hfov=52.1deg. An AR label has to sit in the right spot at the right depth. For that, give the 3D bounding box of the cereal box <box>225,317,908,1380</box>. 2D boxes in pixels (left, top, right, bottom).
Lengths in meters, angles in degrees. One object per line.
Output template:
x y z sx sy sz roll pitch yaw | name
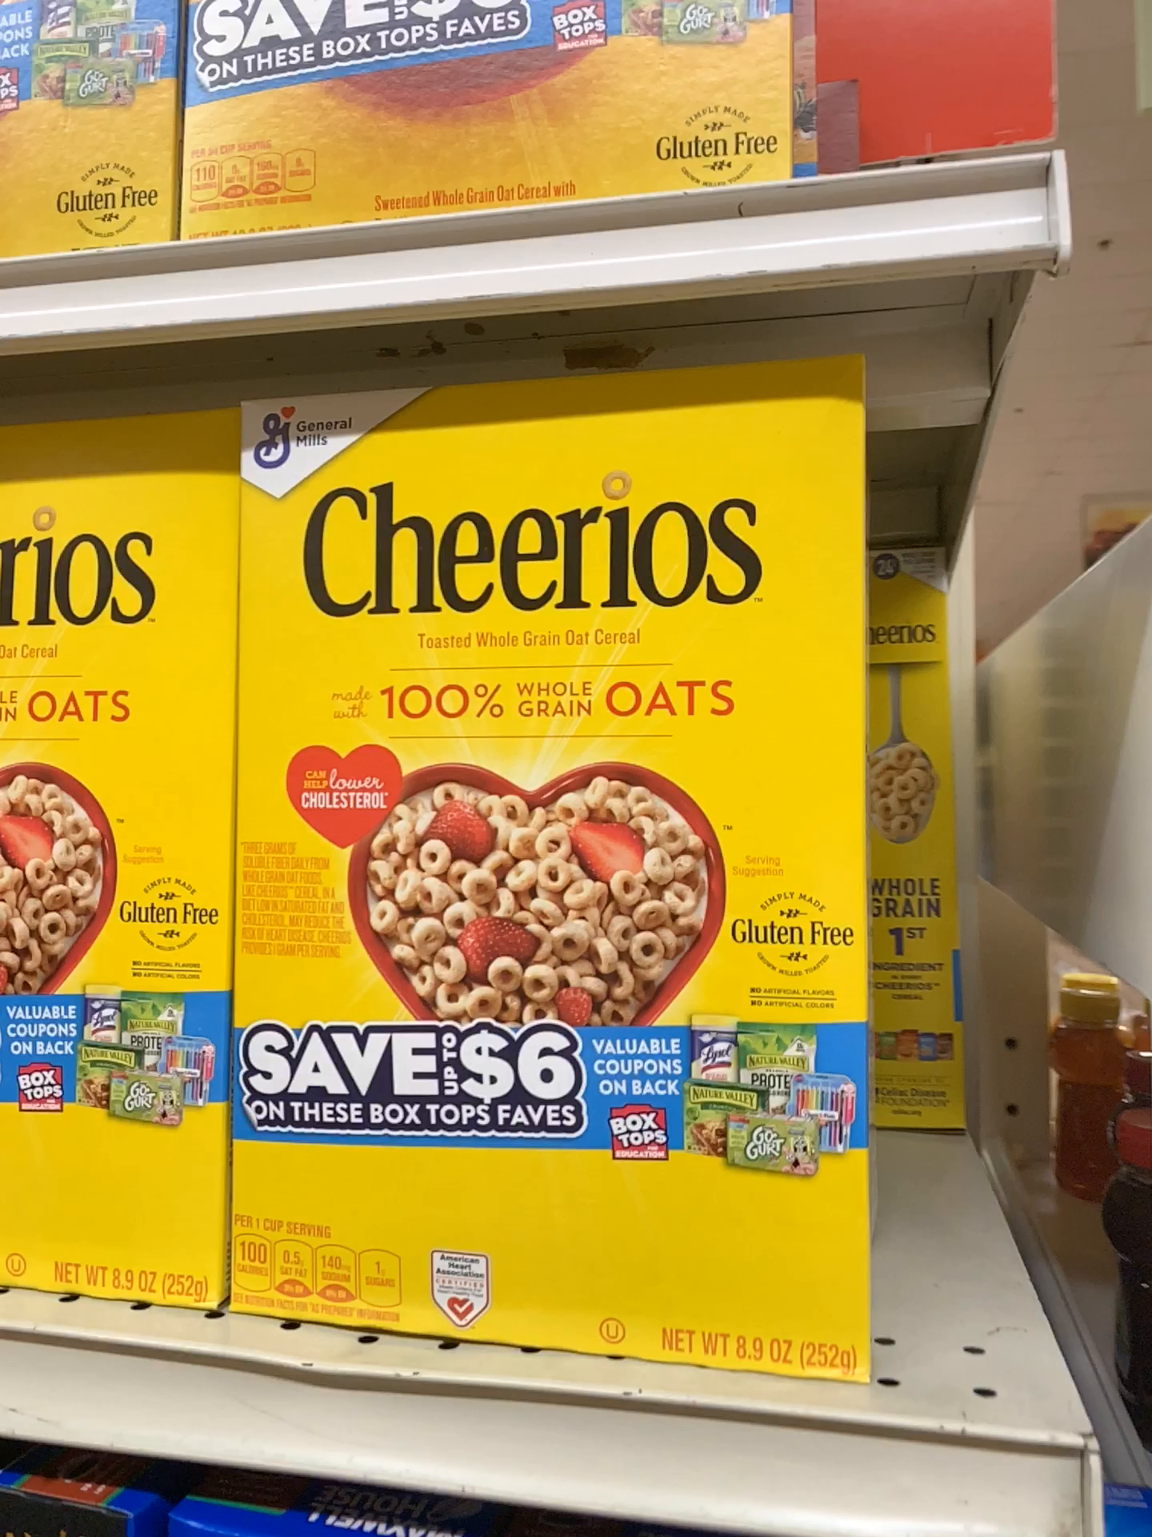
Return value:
-0.003 0.019 0.347 0.190 0.270 0.050 0 -2 13 | cereal box
